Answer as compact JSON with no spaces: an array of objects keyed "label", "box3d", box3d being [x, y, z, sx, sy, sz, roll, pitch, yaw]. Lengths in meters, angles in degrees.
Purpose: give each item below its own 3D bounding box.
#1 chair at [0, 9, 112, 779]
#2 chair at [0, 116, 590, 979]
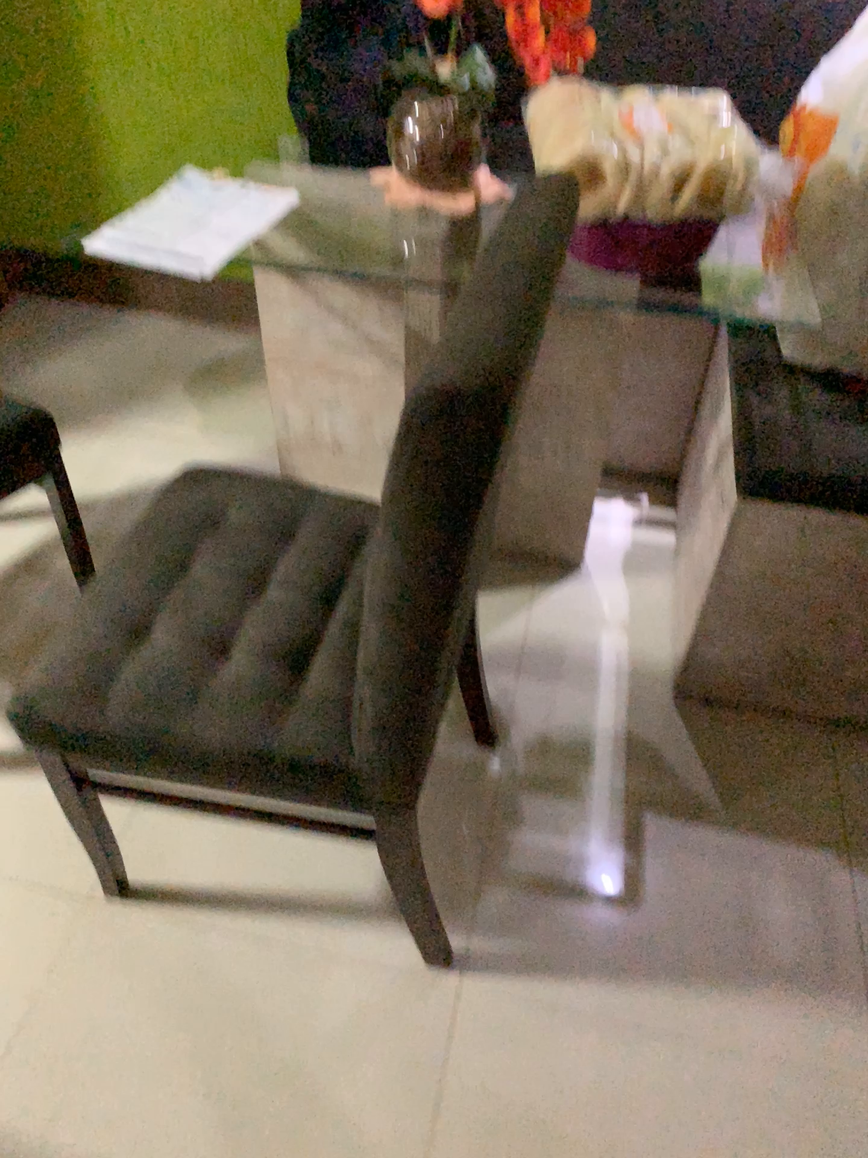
[{"label":"chair","box3d":[-1.021,-0.268,1.431,0.571,0.981,0.493,26,48,23]},{"label":"chair","box3d":[-0.170,0.009,1.184,0.570,0.971,0.525,10,44,8]}]
